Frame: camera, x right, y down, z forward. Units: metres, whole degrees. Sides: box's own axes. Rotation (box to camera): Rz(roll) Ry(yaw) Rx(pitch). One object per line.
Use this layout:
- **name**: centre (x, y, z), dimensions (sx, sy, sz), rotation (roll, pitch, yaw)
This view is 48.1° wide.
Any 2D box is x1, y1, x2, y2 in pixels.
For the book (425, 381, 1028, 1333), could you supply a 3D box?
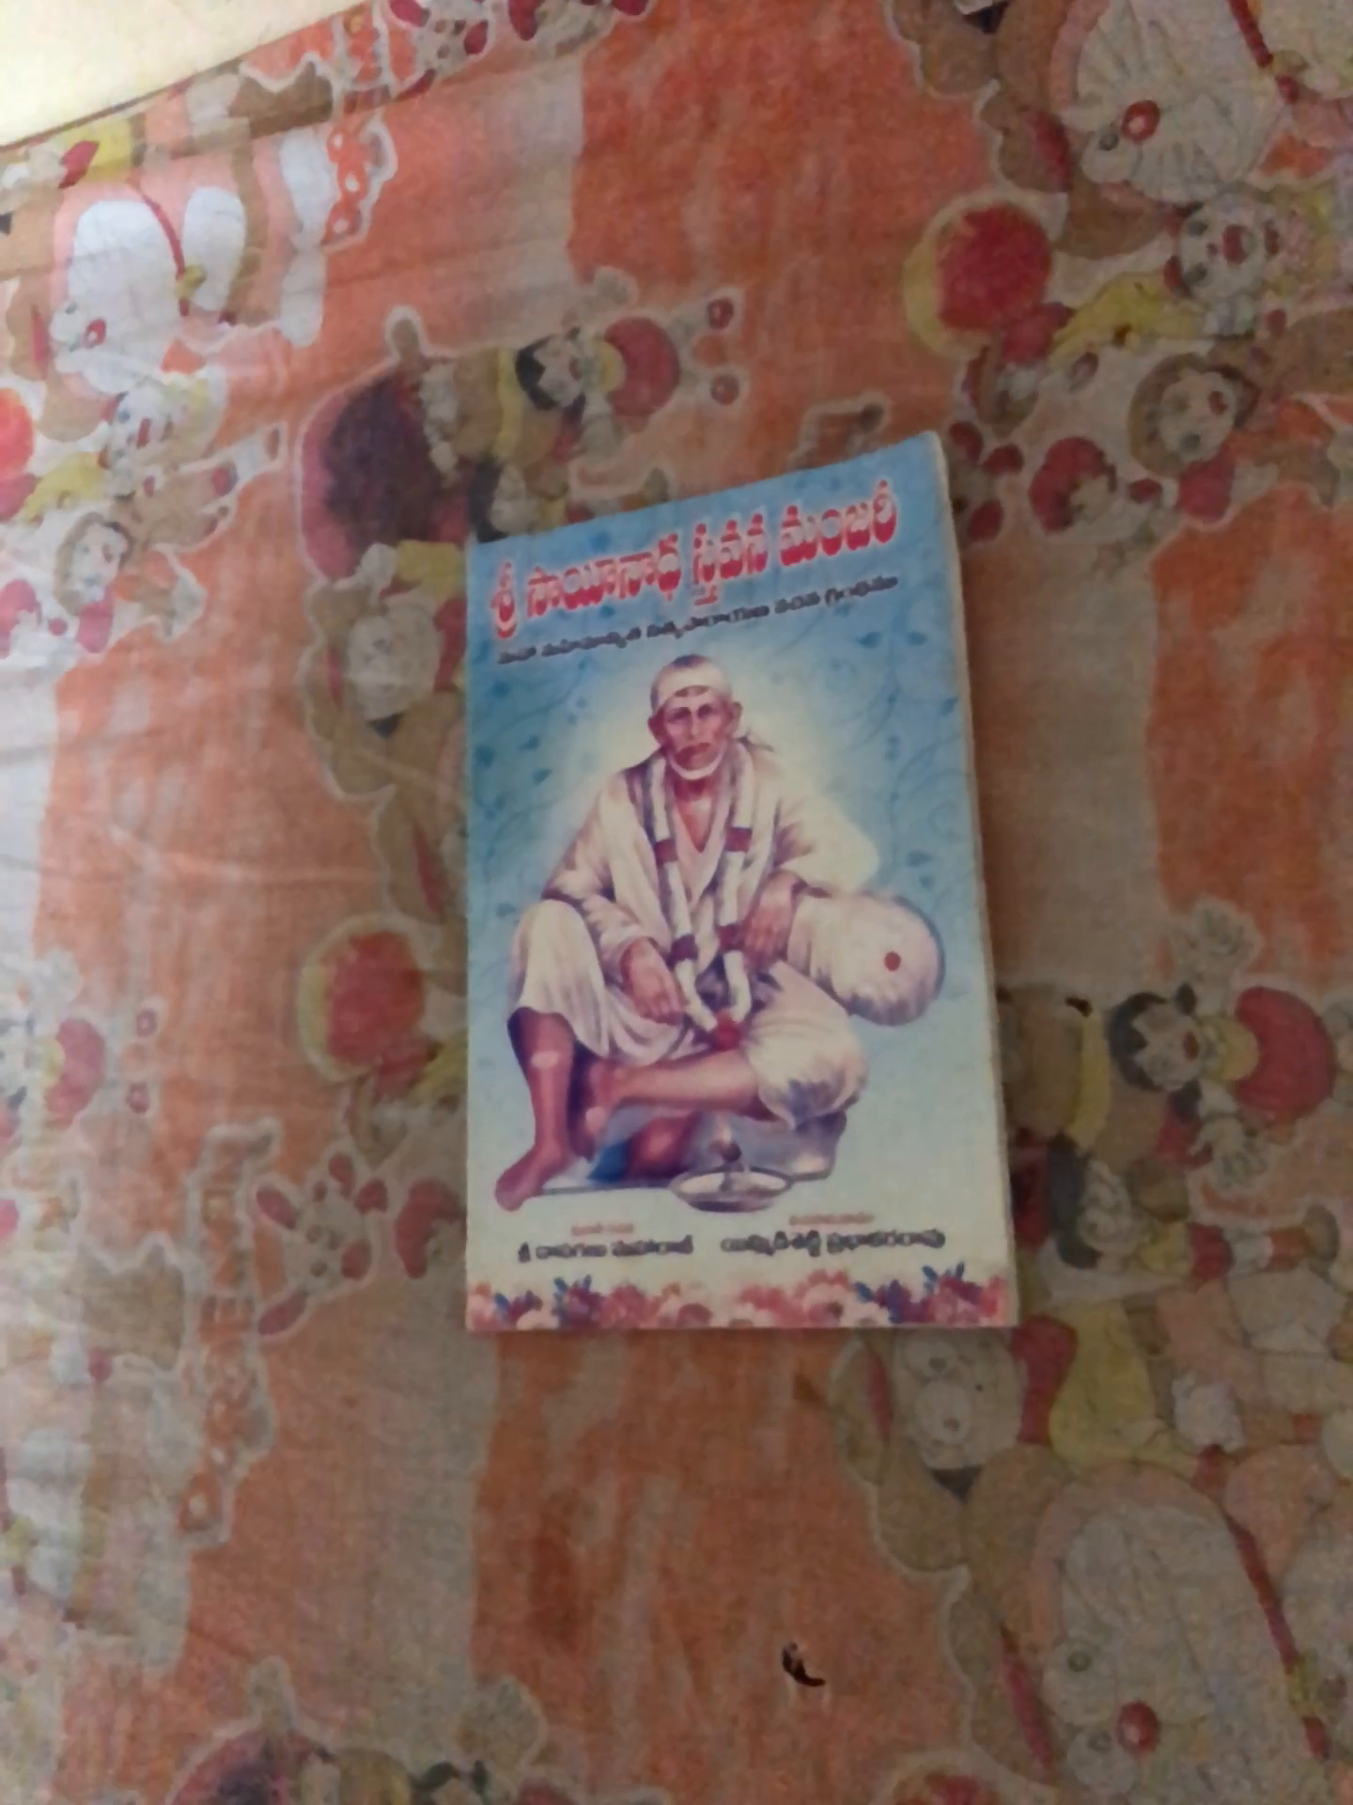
- **book**: centre (0.006, -0.008, 0.375), dimensions (0.140, 0.020, 0.220), rotation (-6, 79, 19)
